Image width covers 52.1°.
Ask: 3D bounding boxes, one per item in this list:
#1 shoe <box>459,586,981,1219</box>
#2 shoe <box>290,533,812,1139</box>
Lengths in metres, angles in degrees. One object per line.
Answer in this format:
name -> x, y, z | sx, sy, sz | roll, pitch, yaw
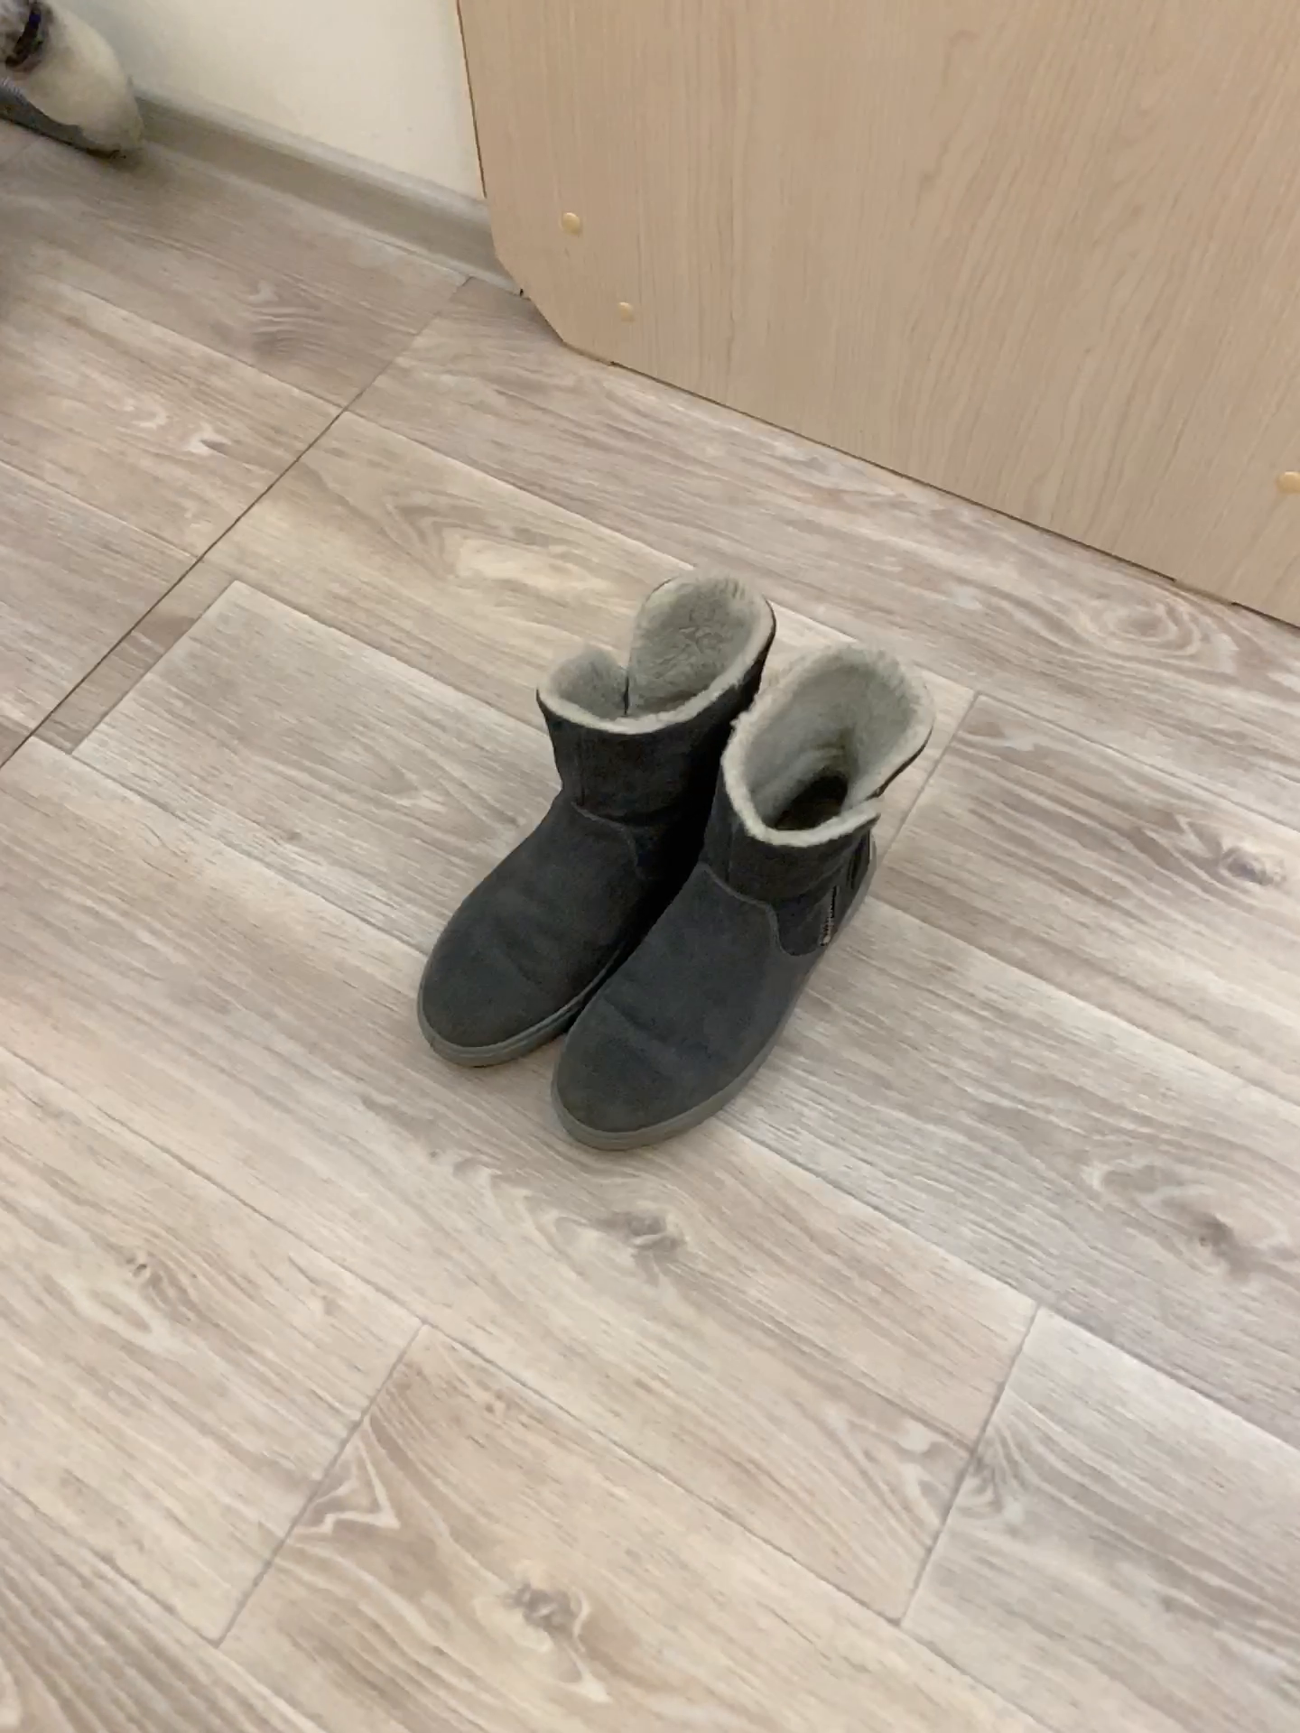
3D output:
shoe -> 0.041, 0.021, 0.681 | 0.100, 0.170, 0.270 | 33, 67, 17
shoe -> -0.039, -0.013, 0.720 | 0.100, 0.180, 0.270 | 35, 68, 18
